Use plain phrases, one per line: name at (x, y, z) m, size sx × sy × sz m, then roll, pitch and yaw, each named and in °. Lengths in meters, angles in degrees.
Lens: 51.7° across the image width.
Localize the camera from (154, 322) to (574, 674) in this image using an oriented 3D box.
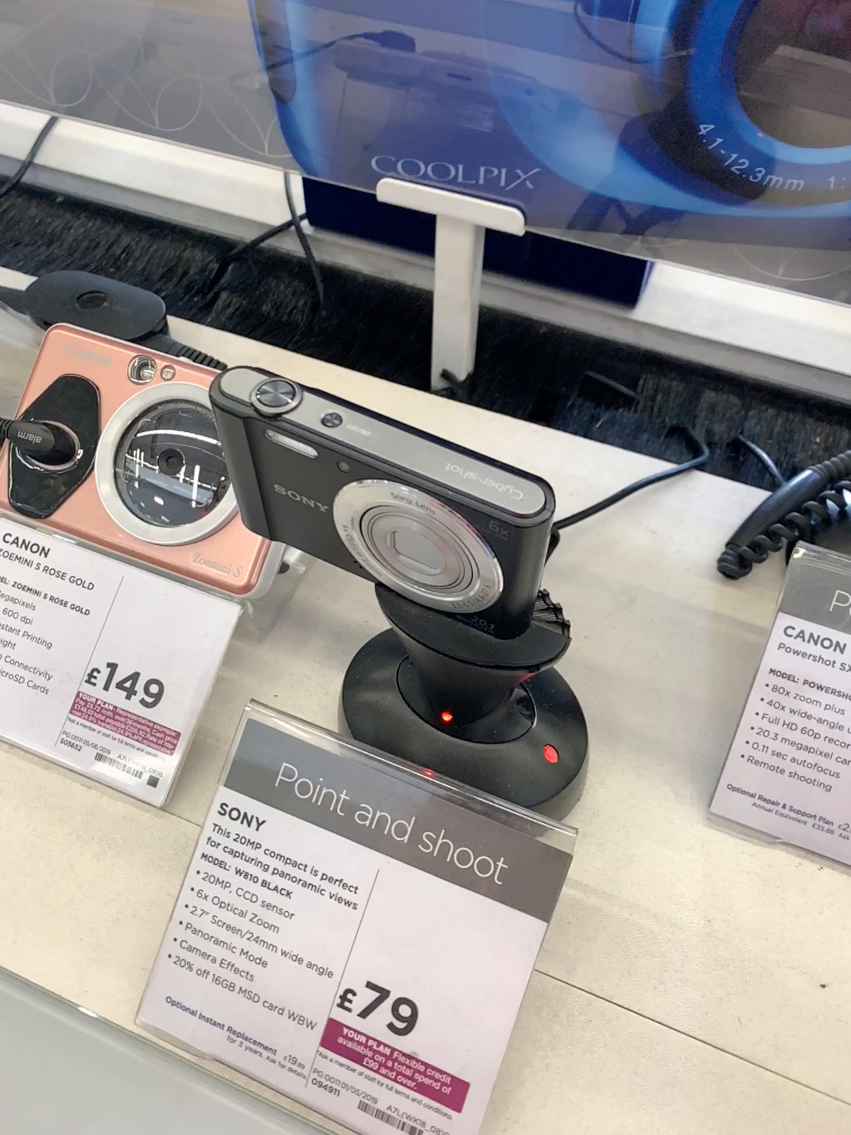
camera at (-0.017, -0.018, 0.237) m, size 0.100 × 0.060 × 0.030 m, roll 23°, pitch 56°, yaw 15°
